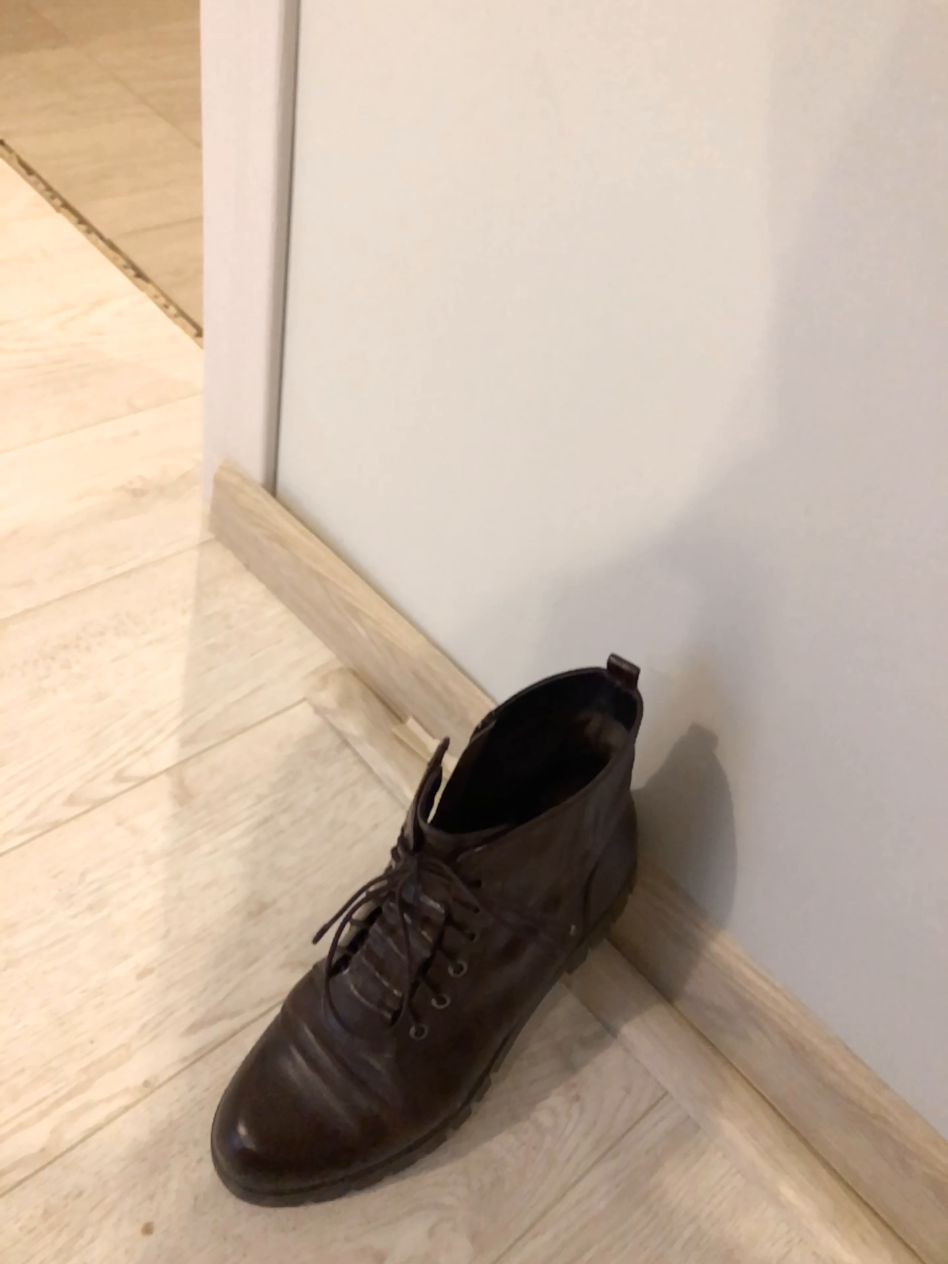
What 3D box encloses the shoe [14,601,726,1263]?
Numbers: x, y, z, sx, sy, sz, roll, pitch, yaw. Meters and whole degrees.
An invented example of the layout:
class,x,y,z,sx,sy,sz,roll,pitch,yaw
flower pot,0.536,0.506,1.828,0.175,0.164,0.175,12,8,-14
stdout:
class,x,y,z,sx,sy,sz,roll,pitch,yaw
shoe,-0.023,0.144,0.459,0.261,0.179,0.100,-40,62,-18
